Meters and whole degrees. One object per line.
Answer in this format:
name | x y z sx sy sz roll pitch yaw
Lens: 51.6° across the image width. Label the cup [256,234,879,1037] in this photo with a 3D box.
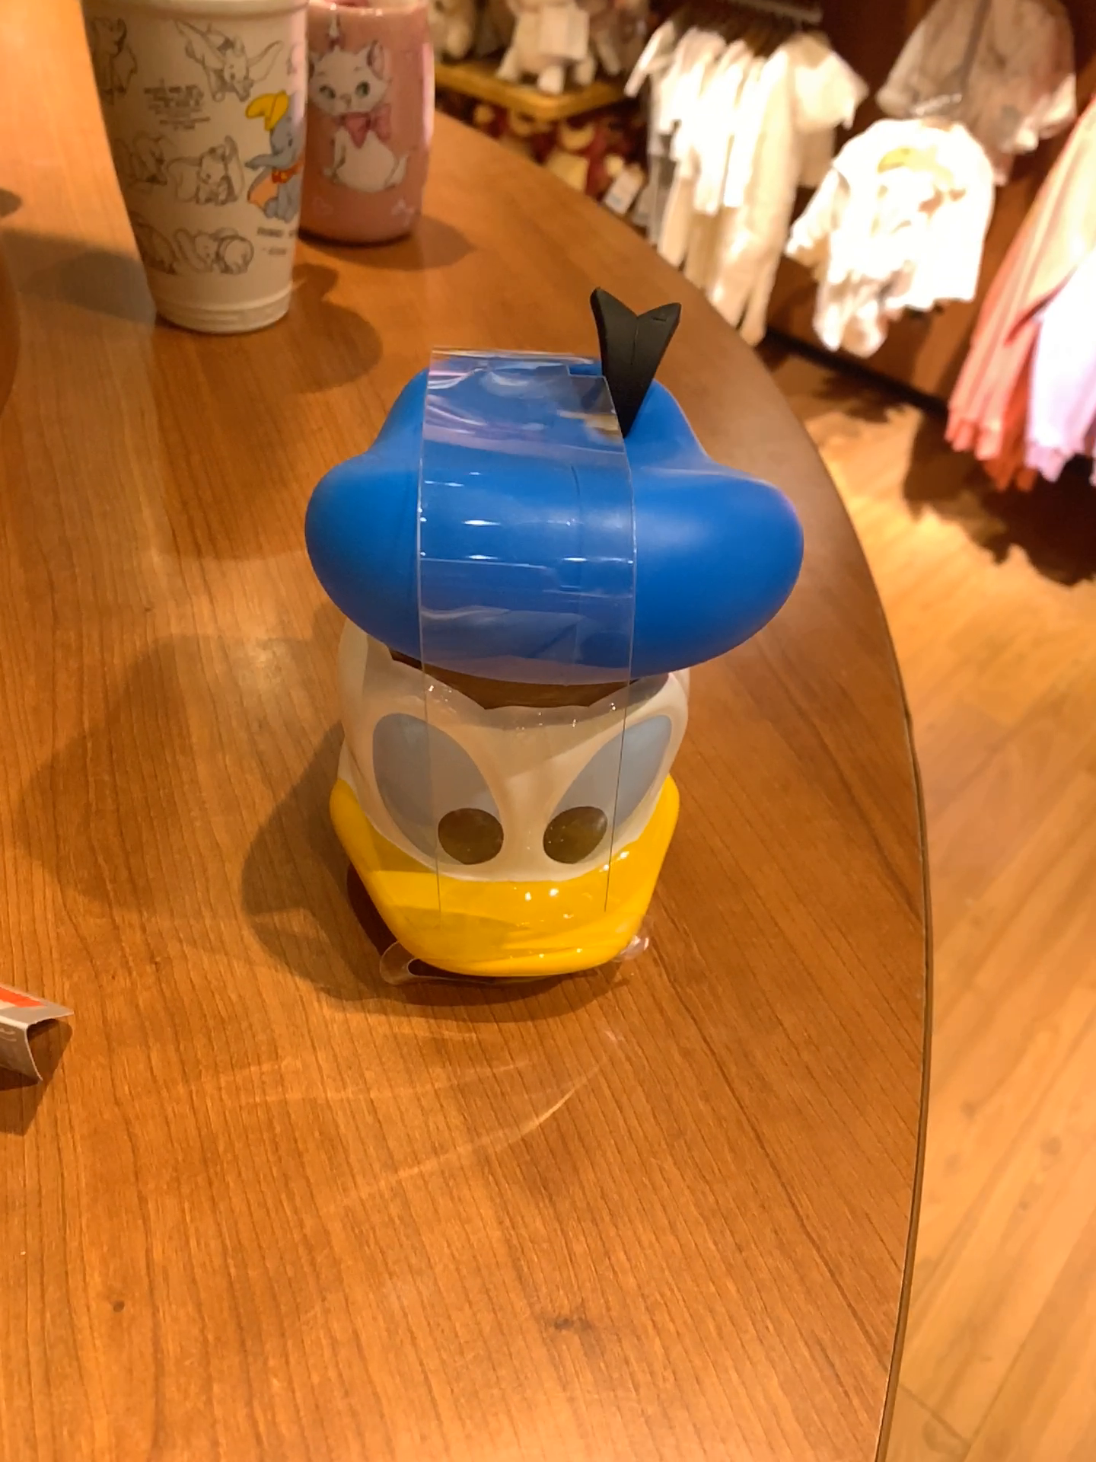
cup | -0.007 -0.023 0.288 0.105 0.132 0.151 2 47 -7
